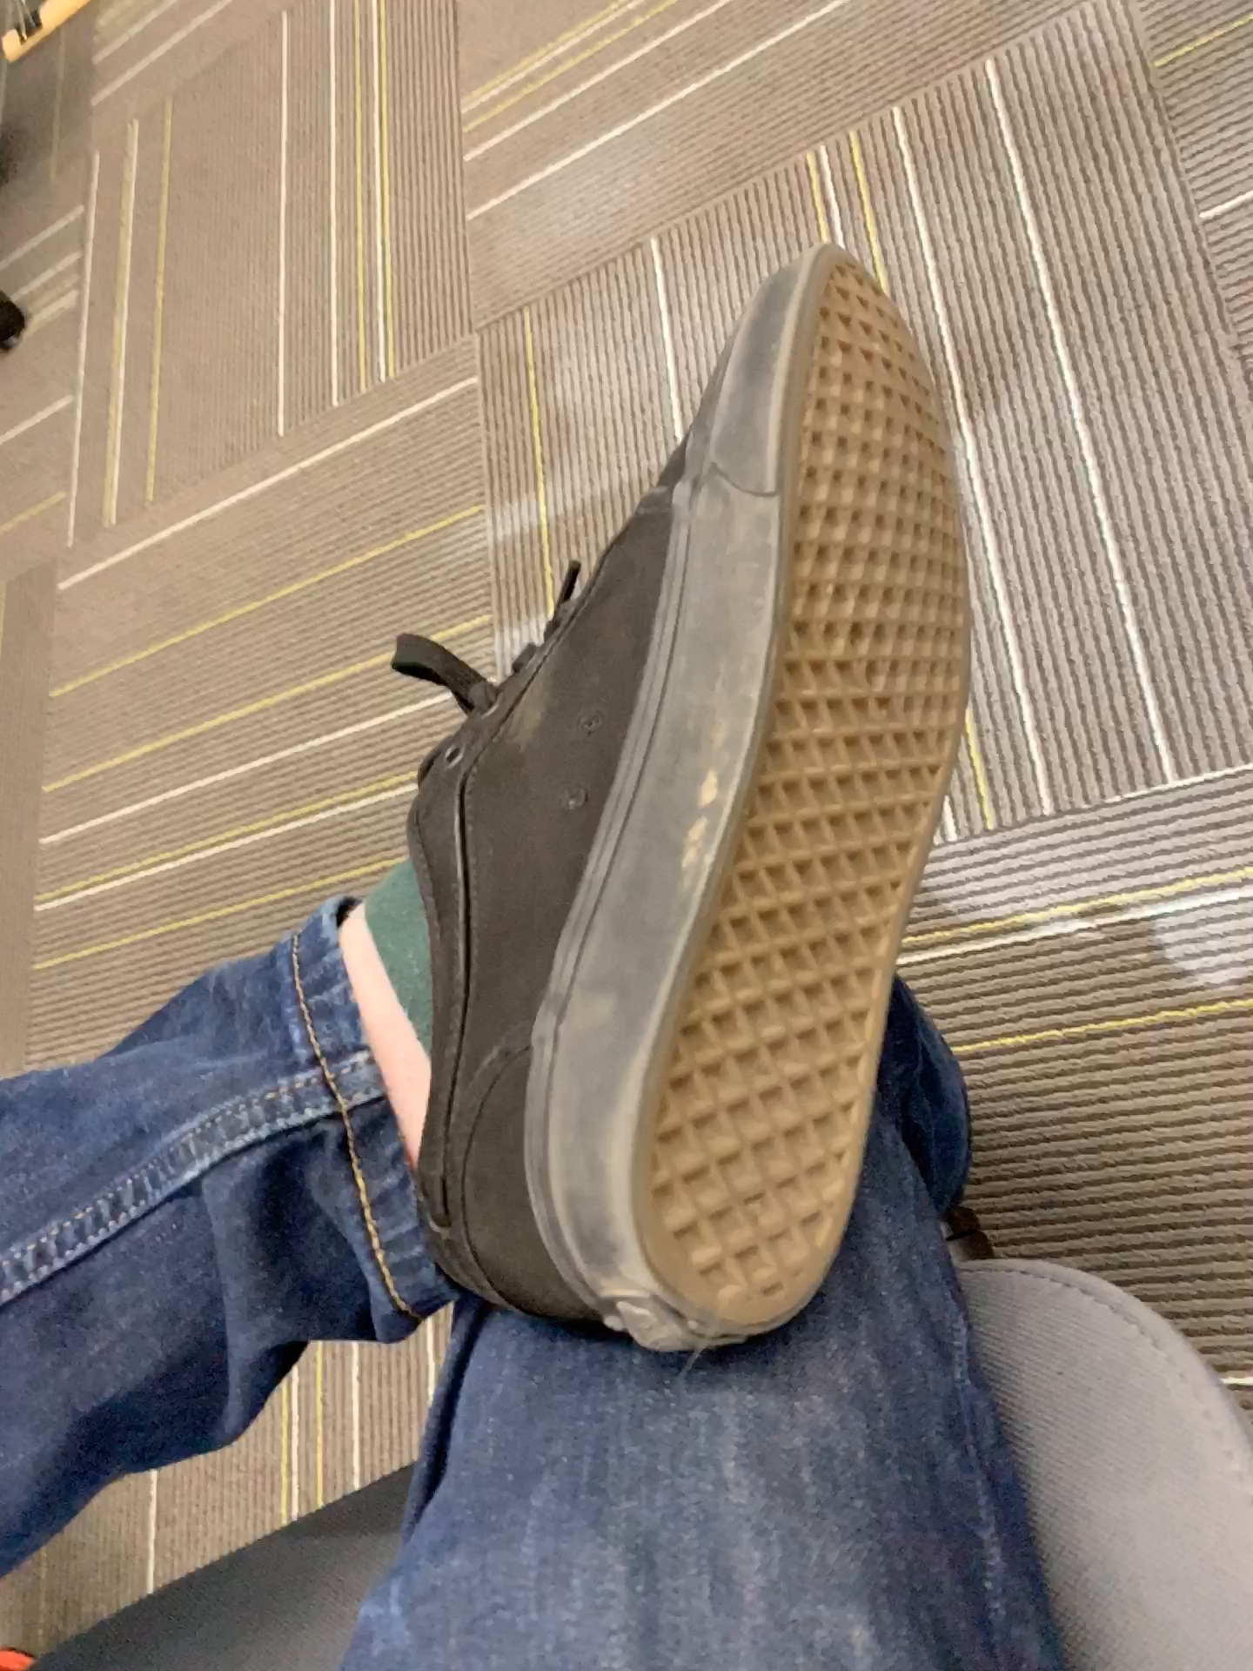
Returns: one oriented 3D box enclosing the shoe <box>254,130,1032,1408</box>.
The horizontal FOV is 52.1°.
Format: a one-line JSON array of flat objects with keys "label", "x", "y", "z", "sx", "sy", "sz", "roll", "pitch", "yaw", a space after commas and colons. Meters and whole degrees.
[{"label": "shoe", "x": 0.014, "y": -0.008, "z": 0.336, "sx": 0.135, "sy": 0.120, "sz": 0.260, "roll": -6, "pitch": 72, "yaw": 40}]
